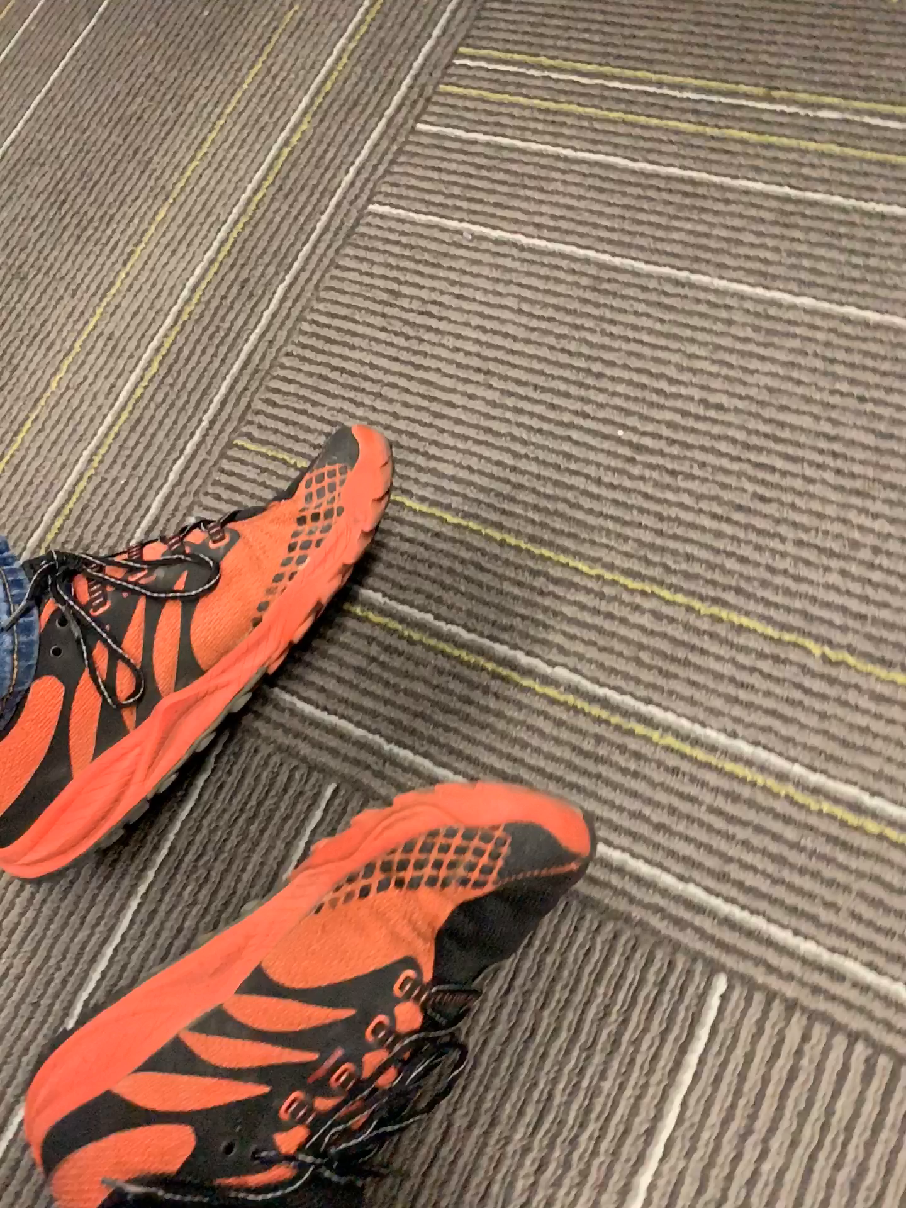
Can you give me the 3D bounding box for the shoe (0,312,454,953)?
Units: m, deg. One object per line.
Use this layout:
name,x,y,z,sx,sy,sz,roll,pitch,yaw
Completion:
shoe,-0.160,0.004,0.483,0.307,0.129,0.108,-45,107,-3

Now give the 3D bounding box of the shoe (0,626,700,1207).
shoe,-0.069,0.173,0.404,0.317,0.138,0.109,-36,48,1
